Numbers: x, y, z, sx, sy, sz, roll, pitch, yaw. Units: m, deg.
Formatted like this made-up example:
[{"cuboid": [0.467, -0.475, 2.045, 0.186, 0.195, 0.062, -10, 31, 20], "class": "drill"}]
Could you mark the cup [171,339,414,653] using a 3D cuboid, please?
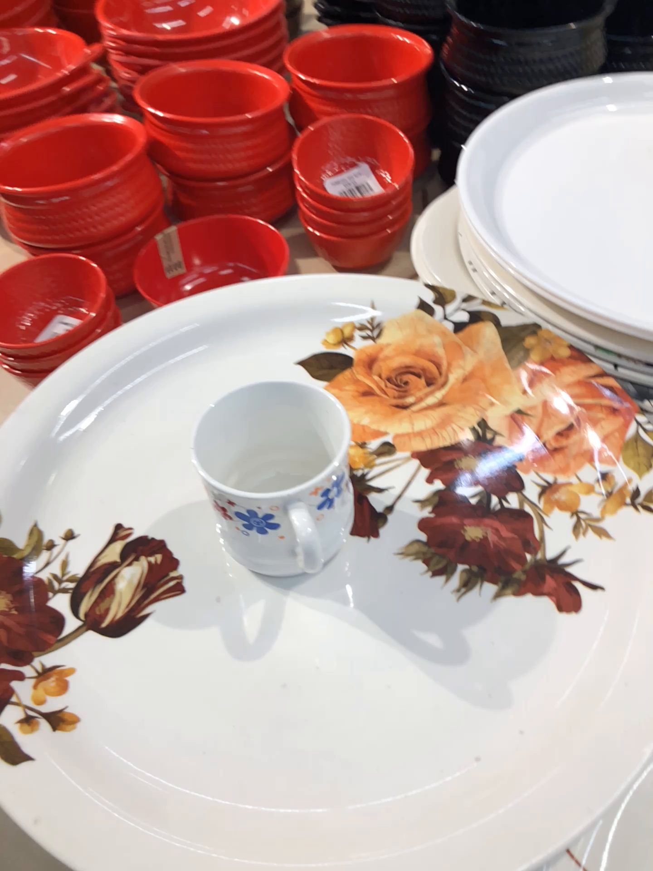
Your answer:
[{"cuboid": [-0.014, 0.024, 0.301, 0.070, 0.070, 0.090, -17, 50, -8], "class": "cup"}]
